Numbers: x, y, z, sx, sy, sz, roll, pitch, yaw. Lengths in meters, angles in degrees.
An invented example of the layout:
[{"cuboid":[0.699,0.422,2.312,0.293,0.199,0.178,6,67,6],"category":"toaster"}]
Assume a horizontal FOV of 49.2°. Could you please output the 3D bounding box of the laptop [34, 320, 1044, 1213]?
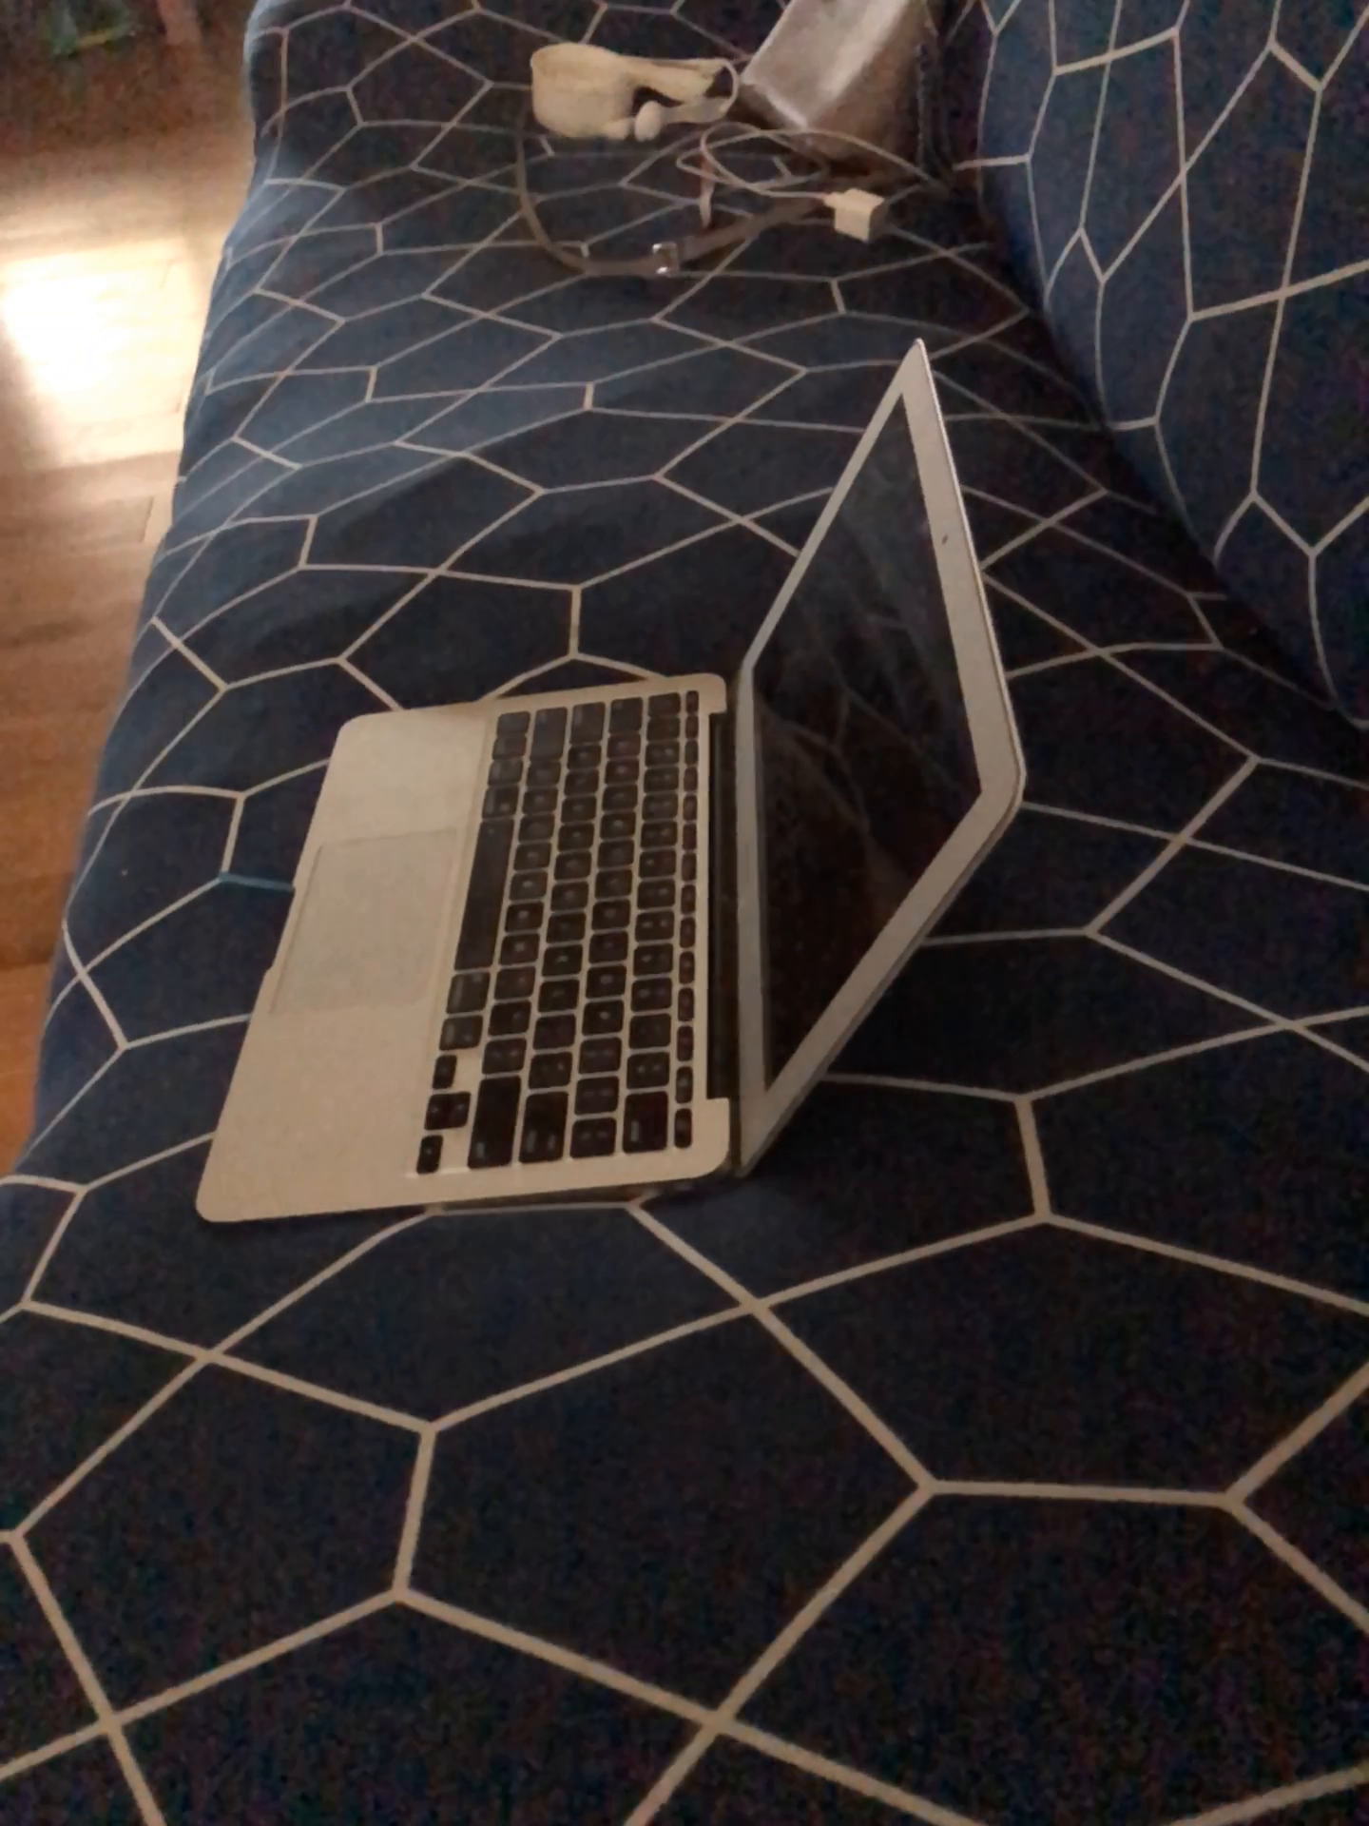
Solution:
[{"cuboid":[-0.033,-0.064,0.559,0.279,0.156,0.283,-5,44,6],"category":"laptop"}]
